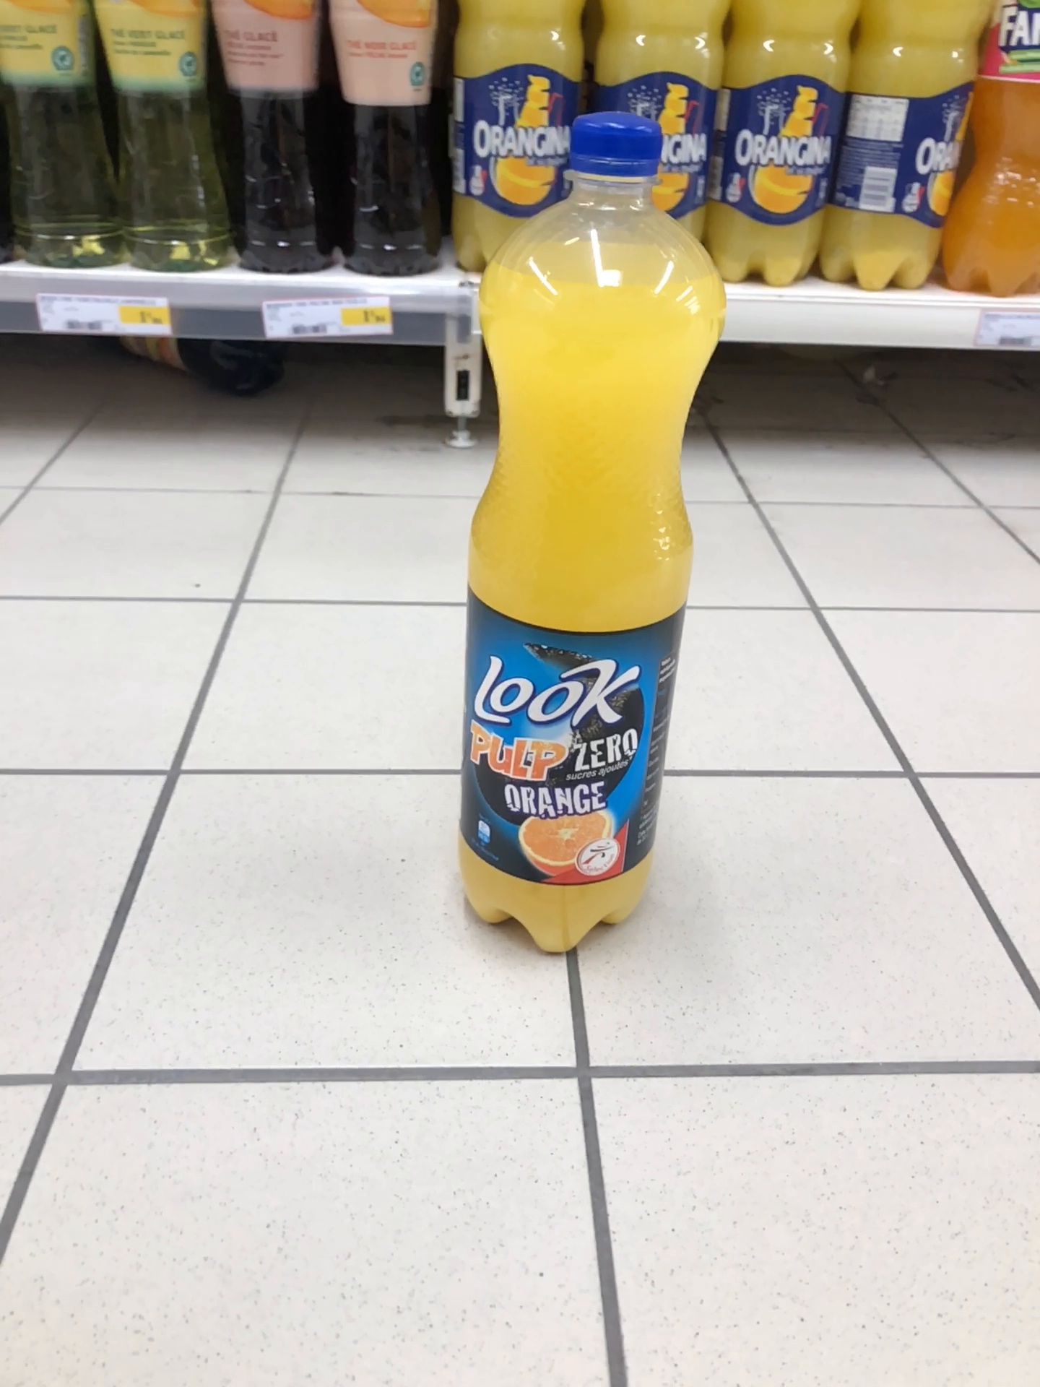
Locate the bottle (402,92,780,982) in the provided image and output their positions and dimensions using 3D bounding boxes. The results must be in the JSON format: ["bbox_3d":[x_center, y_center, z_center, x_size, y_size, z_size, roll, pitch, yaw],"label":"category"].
[{"bbox_3d":[0.021,-0.051,0.448,0.100,0.318,0.101,2,30,-1],"label":"bottle"}]
